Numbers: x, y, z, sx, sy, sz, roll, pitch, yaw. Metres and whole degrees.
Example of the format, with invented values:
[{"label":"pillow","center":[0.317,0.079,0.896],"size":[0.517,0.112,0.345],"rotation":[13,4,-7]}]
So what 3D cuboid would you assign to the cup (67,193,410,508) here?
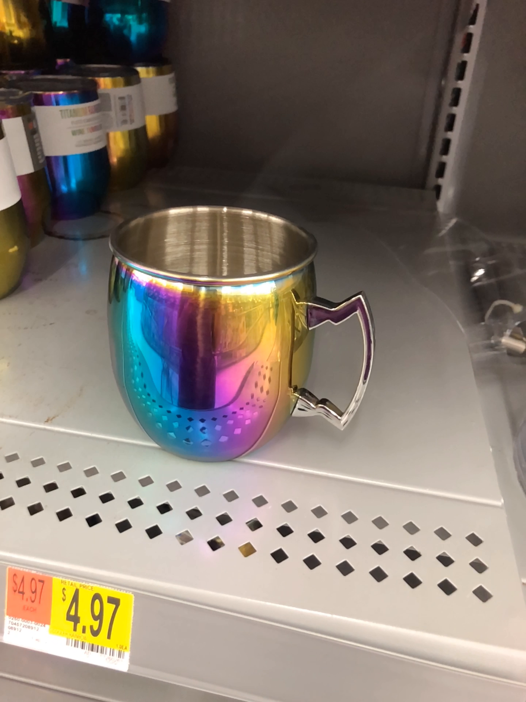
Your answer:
[{"label":"cup","center":[-0.004,-0.007,0.291],"size":[0.133,0.097,0.104],"rotation":[9,33,8]}]
